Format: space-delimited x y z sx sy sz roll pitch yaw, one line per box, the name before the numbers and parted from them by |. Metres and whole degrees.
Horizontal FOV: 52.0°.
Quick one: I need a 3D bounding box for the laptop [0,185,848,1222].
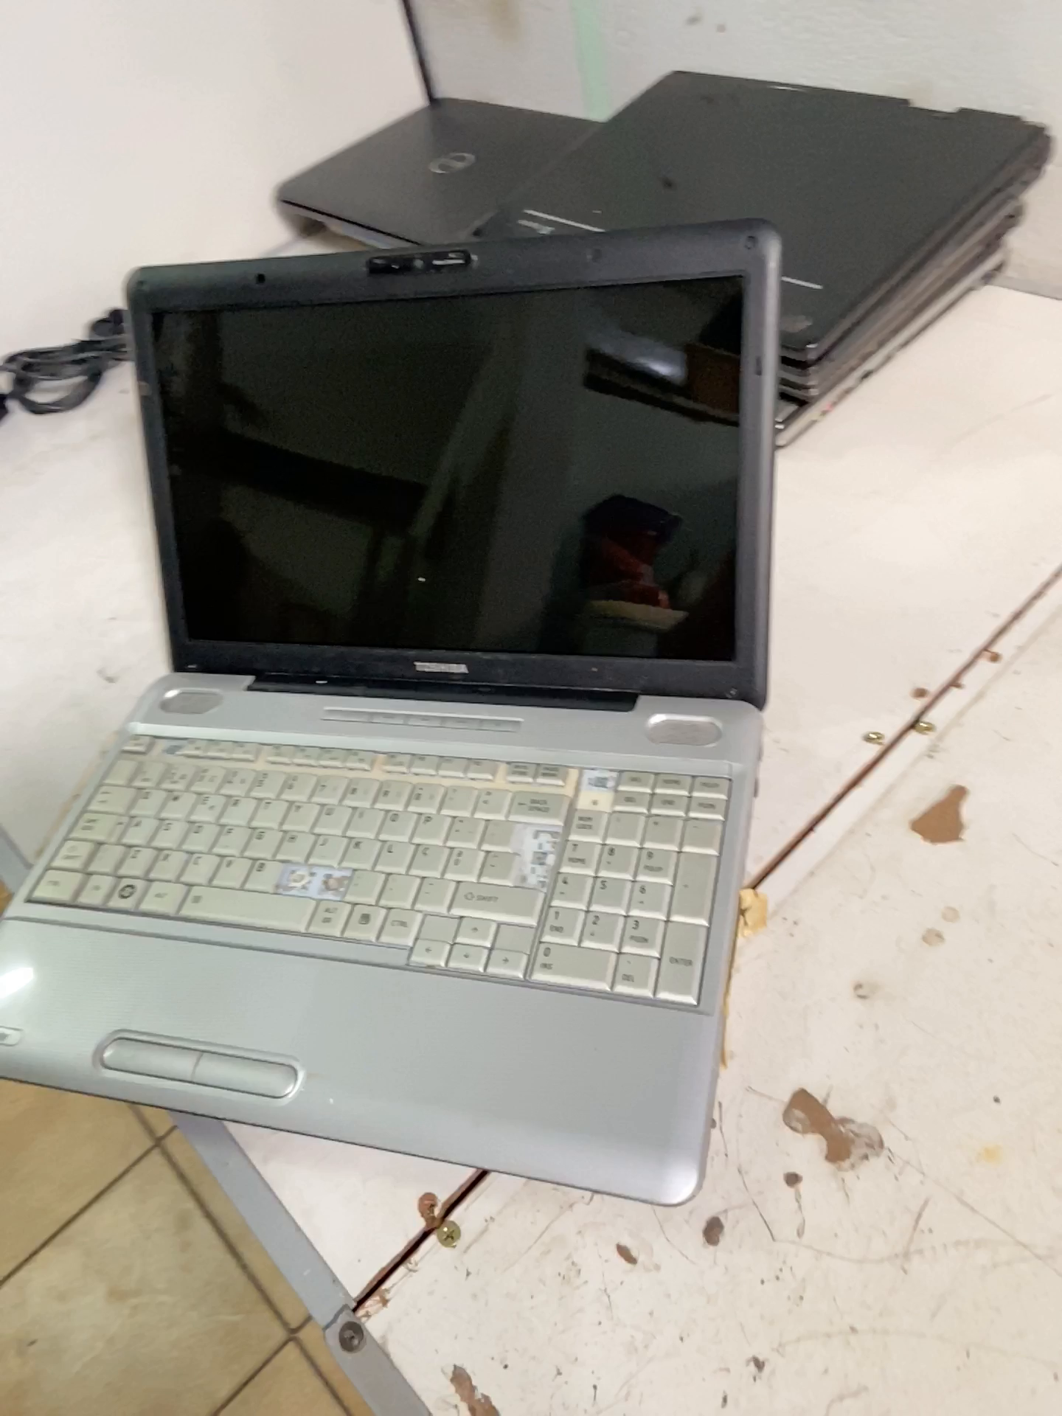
laptop | -0.058 -0.035 0.506 0.371 0.190 0.400 2 49 19
